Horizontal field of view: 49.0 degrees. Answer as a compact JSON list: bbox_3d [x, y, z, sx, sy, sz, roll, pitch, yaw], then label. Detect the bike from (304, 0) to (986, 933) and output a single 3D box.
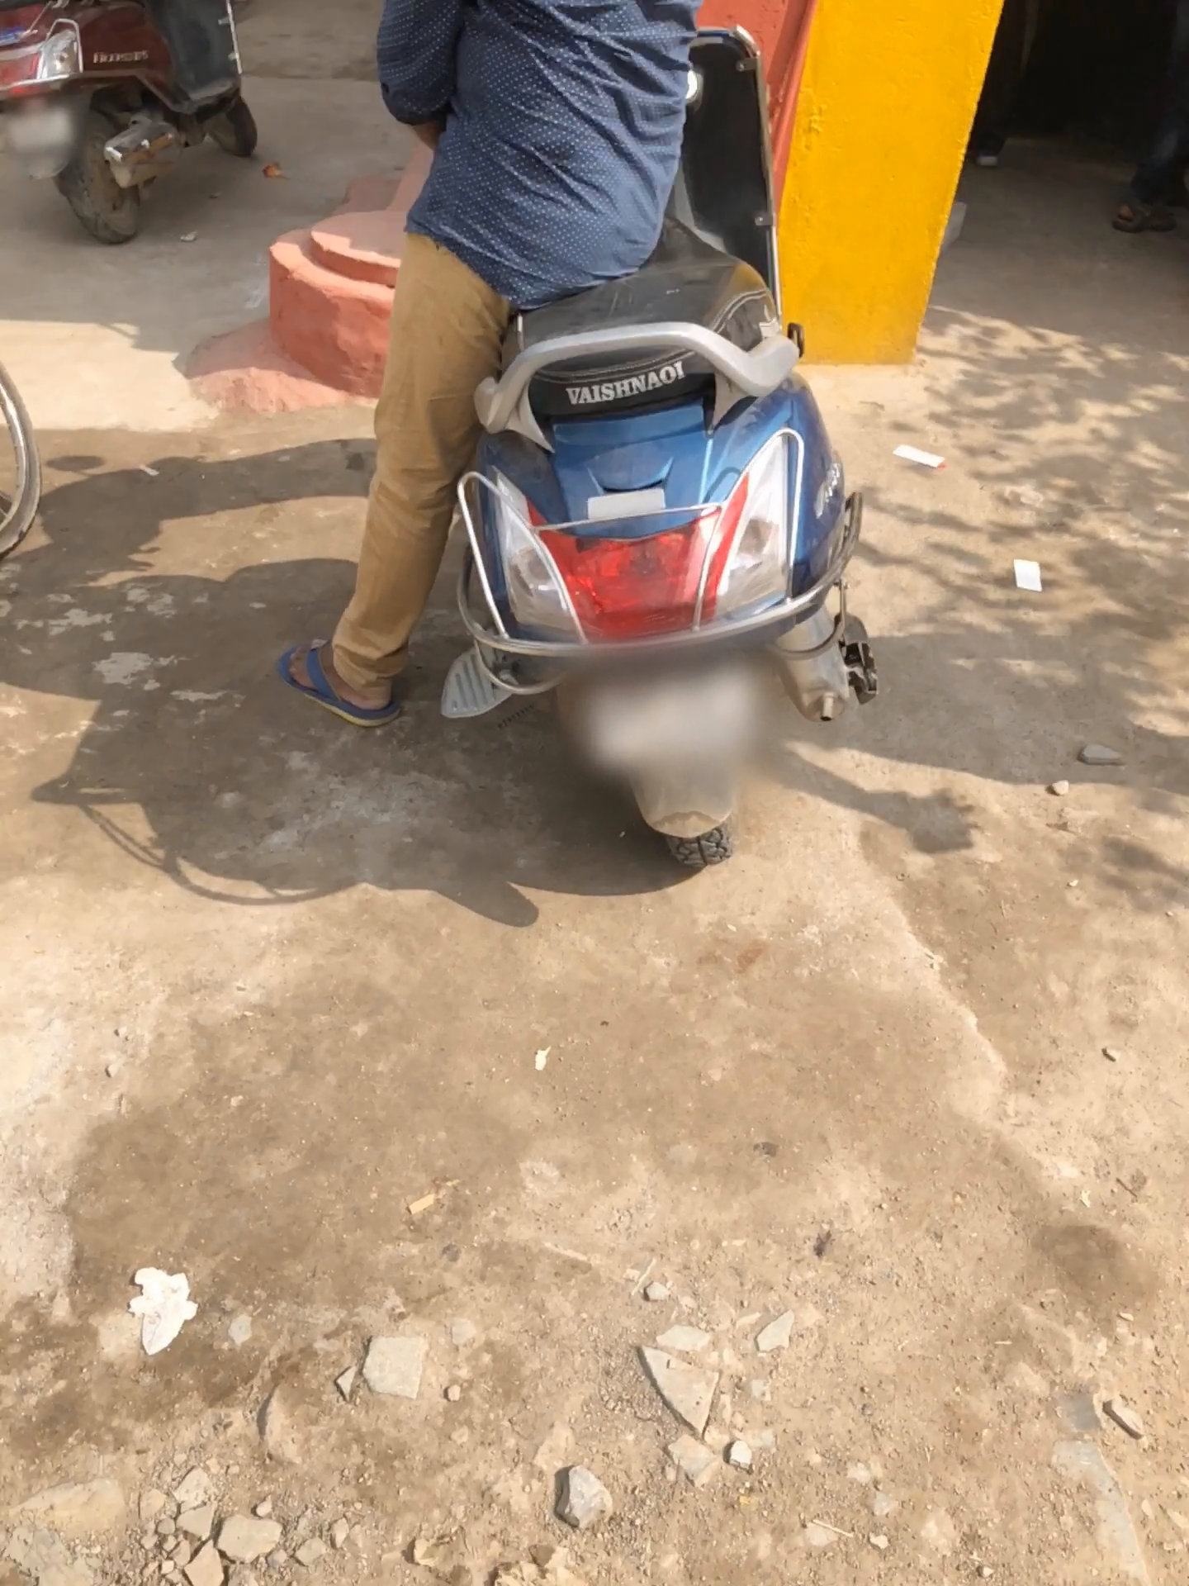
[{"bbox_3d":[-0.075,-0.782,2.194,0.624,1.187,1.642,1,39,-7],"label":"bike"}]
